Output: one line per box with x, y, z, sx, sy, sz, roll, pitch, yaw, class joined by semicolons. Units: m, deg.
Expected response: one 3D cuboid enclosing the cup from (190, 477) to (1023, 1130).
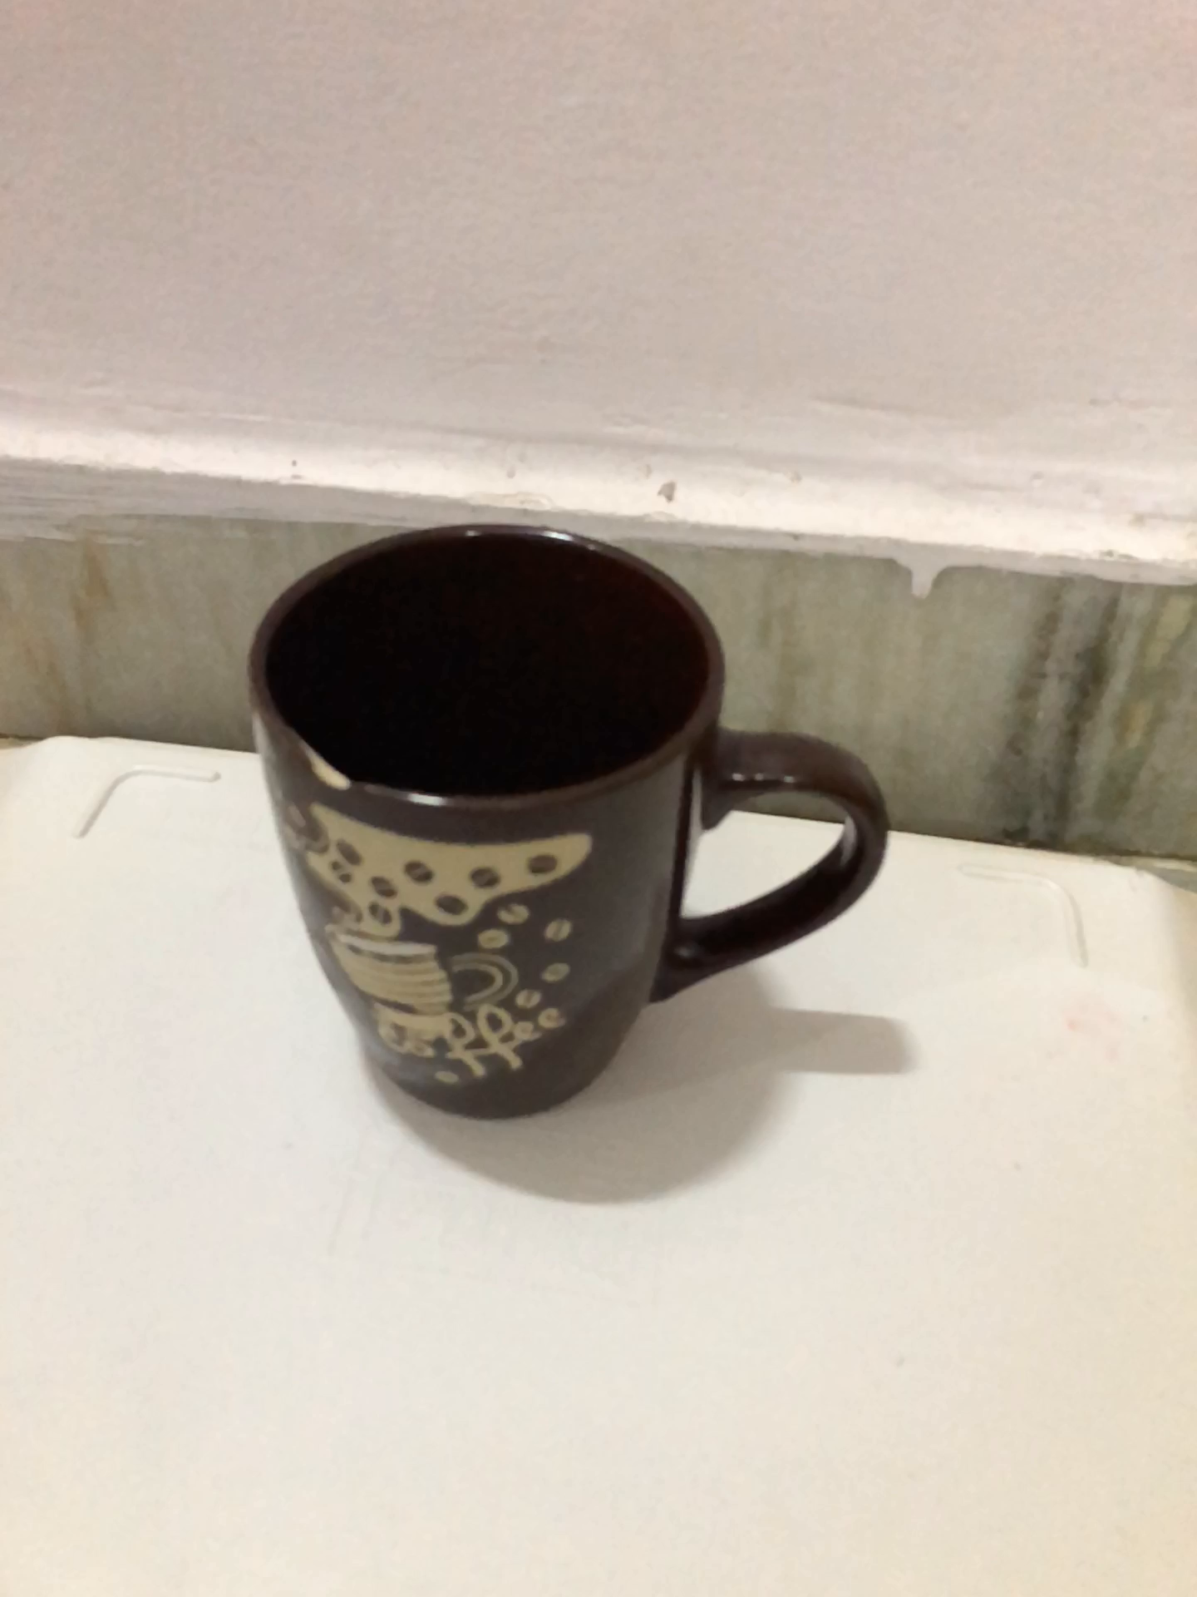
-0.001;0.003;0.248;0.120;0.099;0.070;0;41;-3;cup
